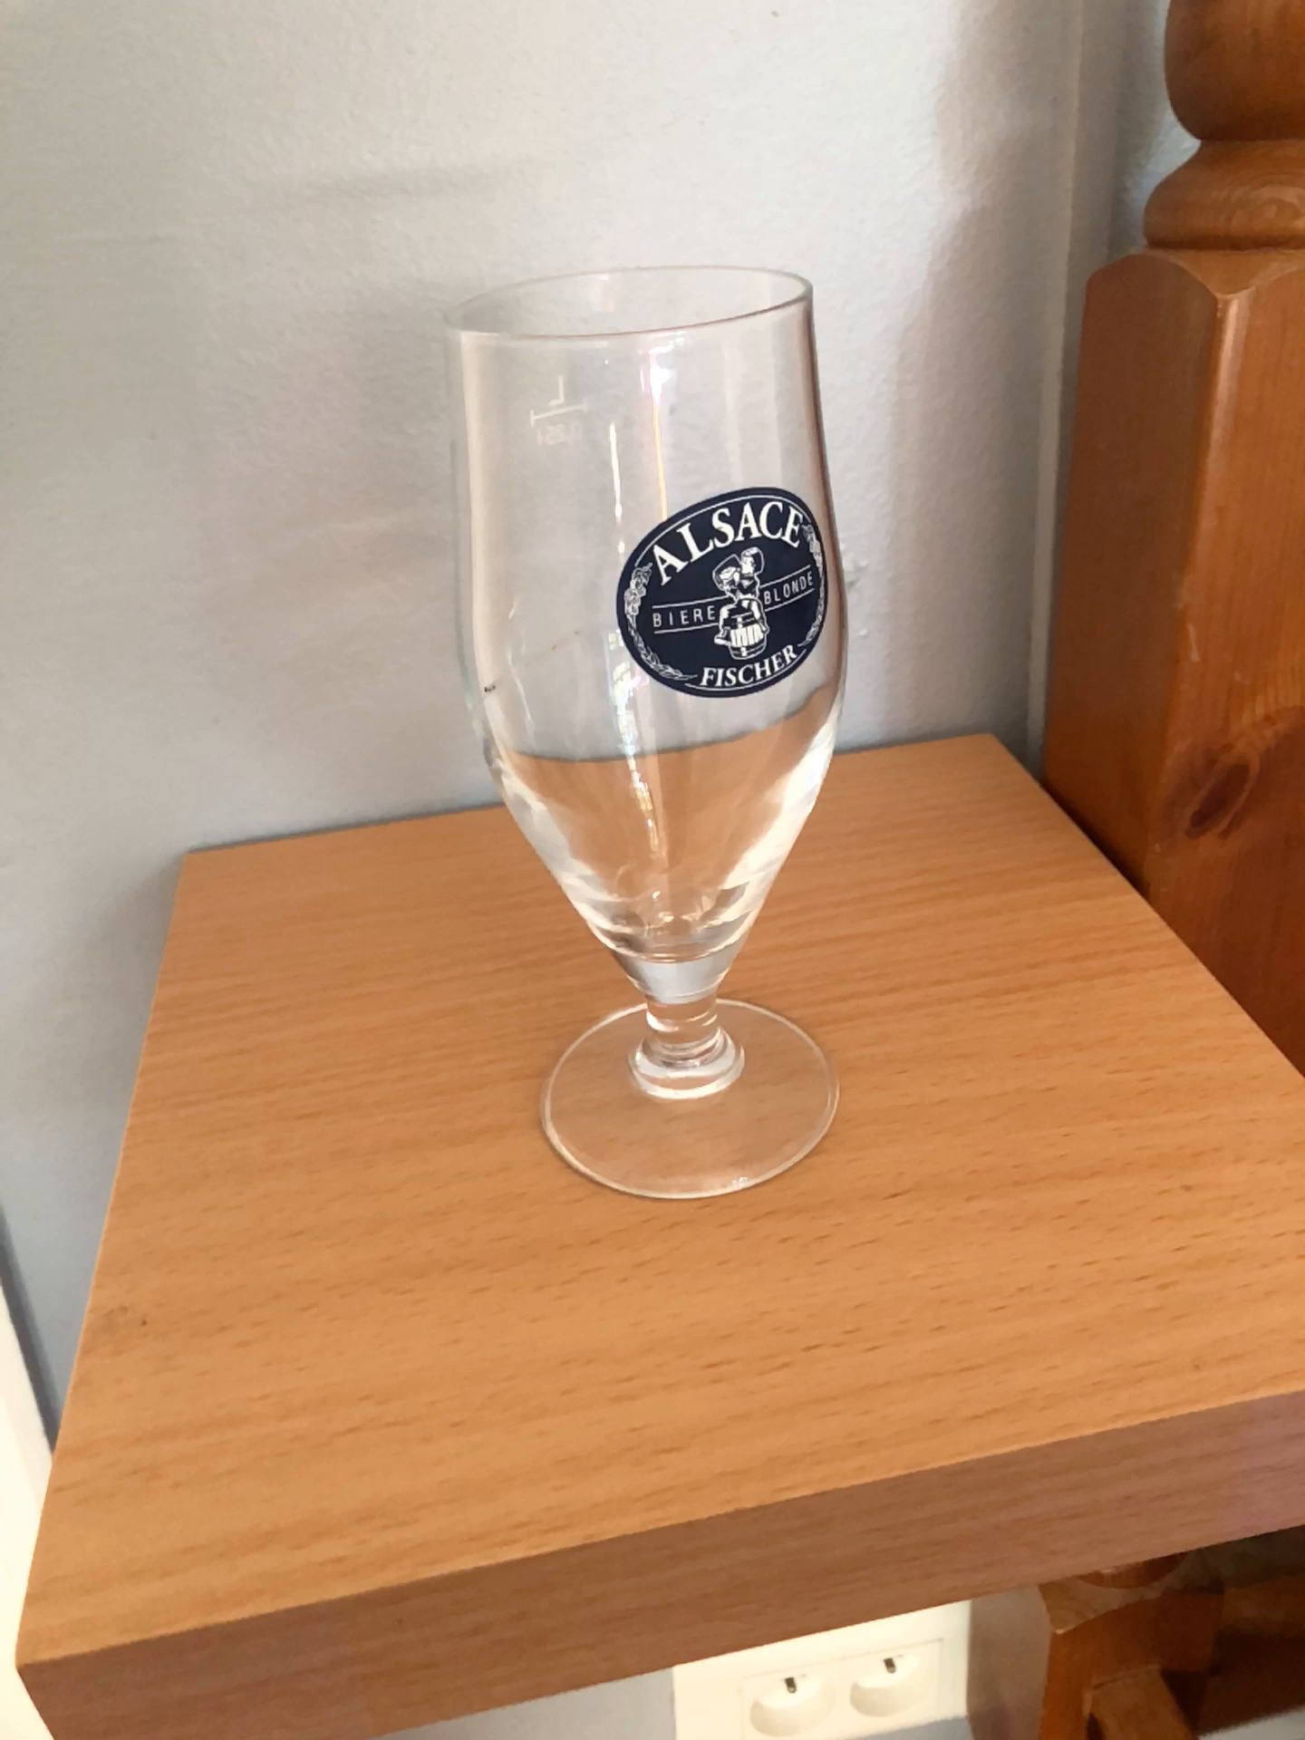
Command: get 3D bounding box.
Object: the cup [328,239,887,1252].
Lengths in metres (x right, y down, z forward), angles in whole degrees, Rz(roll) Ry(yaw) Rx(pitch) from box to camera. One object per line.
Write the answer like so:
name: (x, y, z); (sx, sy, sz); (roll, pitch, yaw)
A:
cup: (-0.004, -0.023, 0.275); (0.068, 0.166, 0.068); (-4, 30, 2)
